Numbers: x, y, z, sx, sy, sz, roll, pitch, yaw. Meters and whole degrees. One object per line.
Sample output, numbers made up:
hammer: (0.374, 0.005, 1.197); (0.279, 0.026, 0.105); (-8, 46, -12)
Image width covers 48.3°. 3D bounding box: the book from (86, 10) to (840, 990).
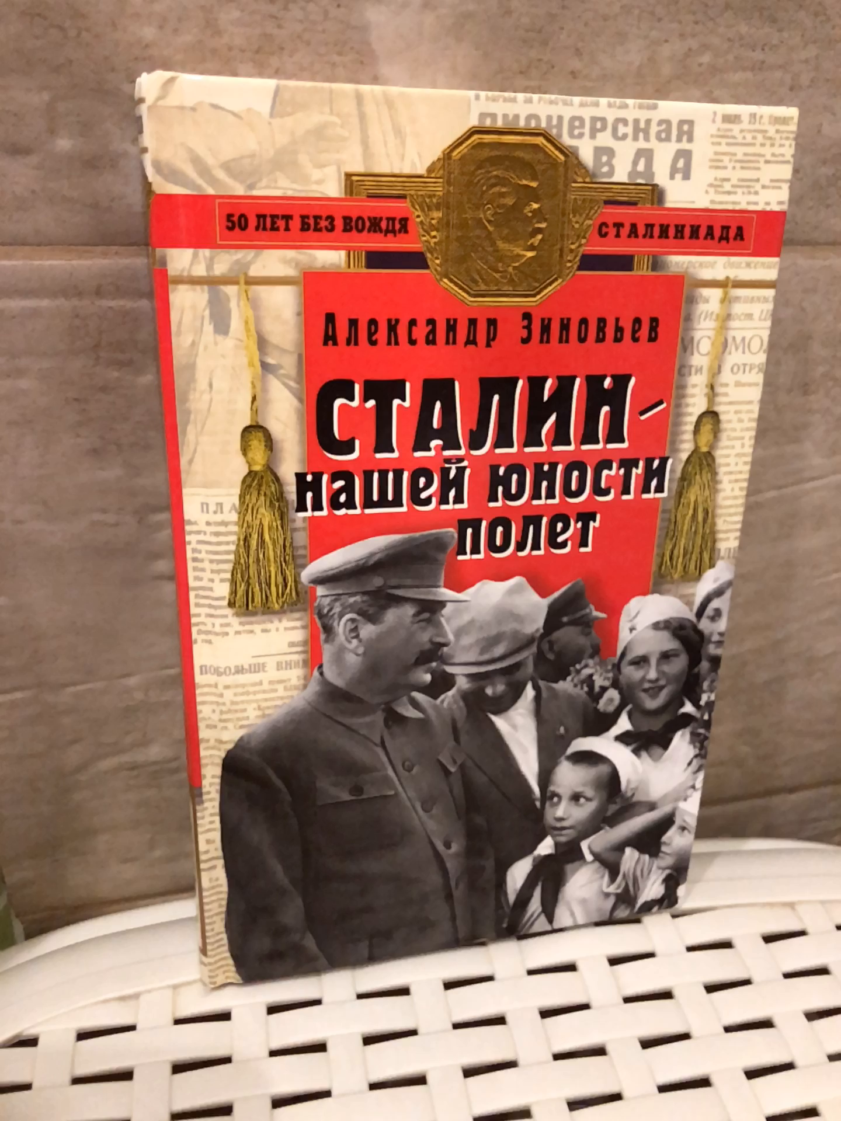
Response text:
book: (0.011, -0.002, 0.209); (0.140, 0.199, 0.030); (-3, 22, -12)
